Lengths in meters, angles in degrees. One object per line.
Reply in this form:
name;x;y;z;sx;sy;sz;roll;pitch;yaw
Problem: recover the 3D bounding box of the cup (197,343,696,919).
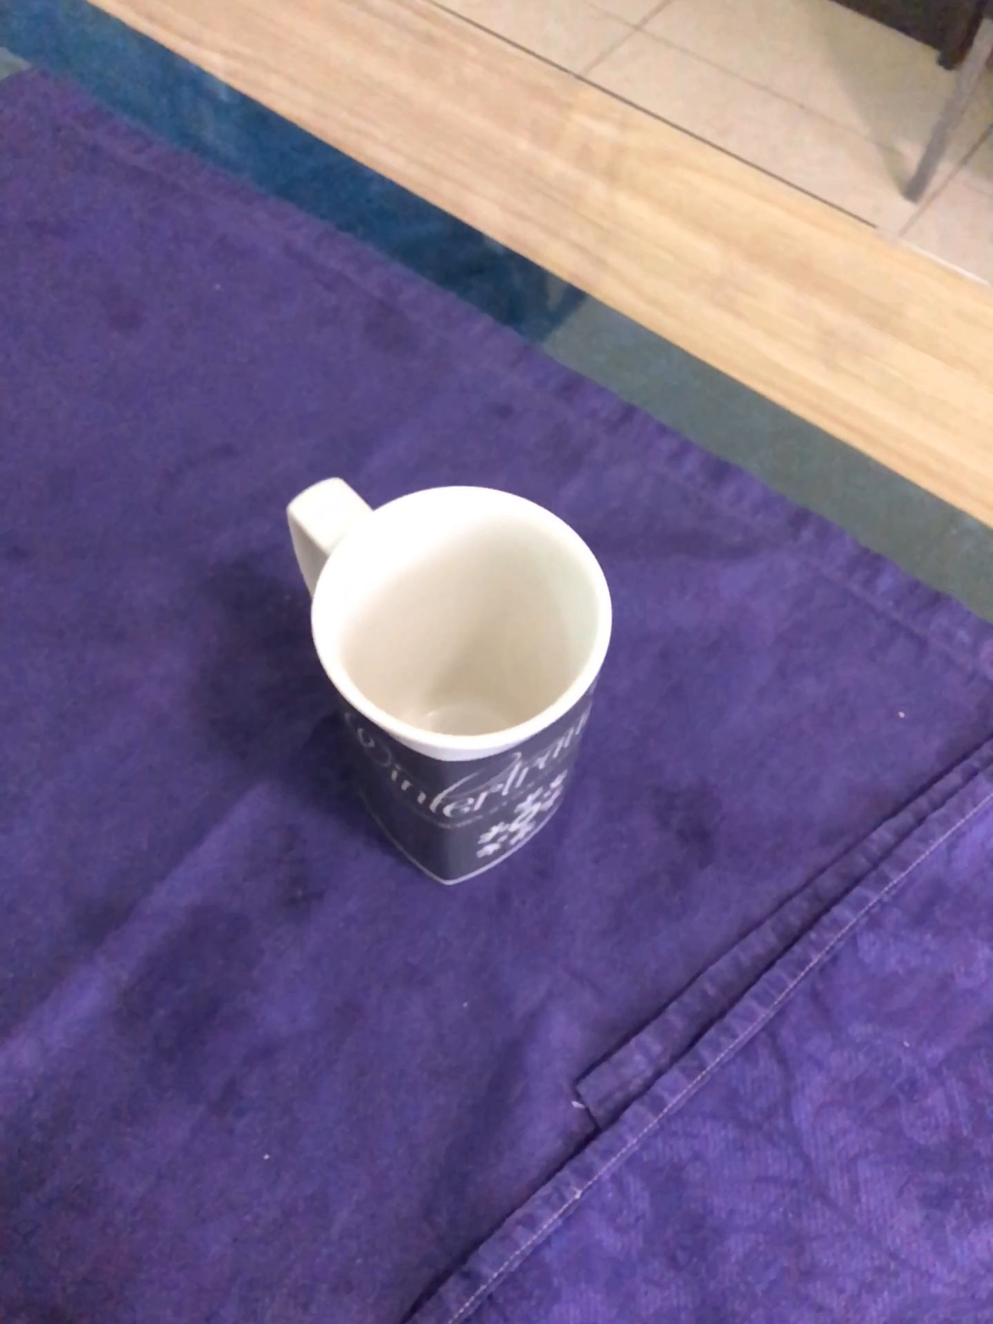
cup;-0.015;-0.004;0.310;0.070;0.110;0.100;-36;69;-19
